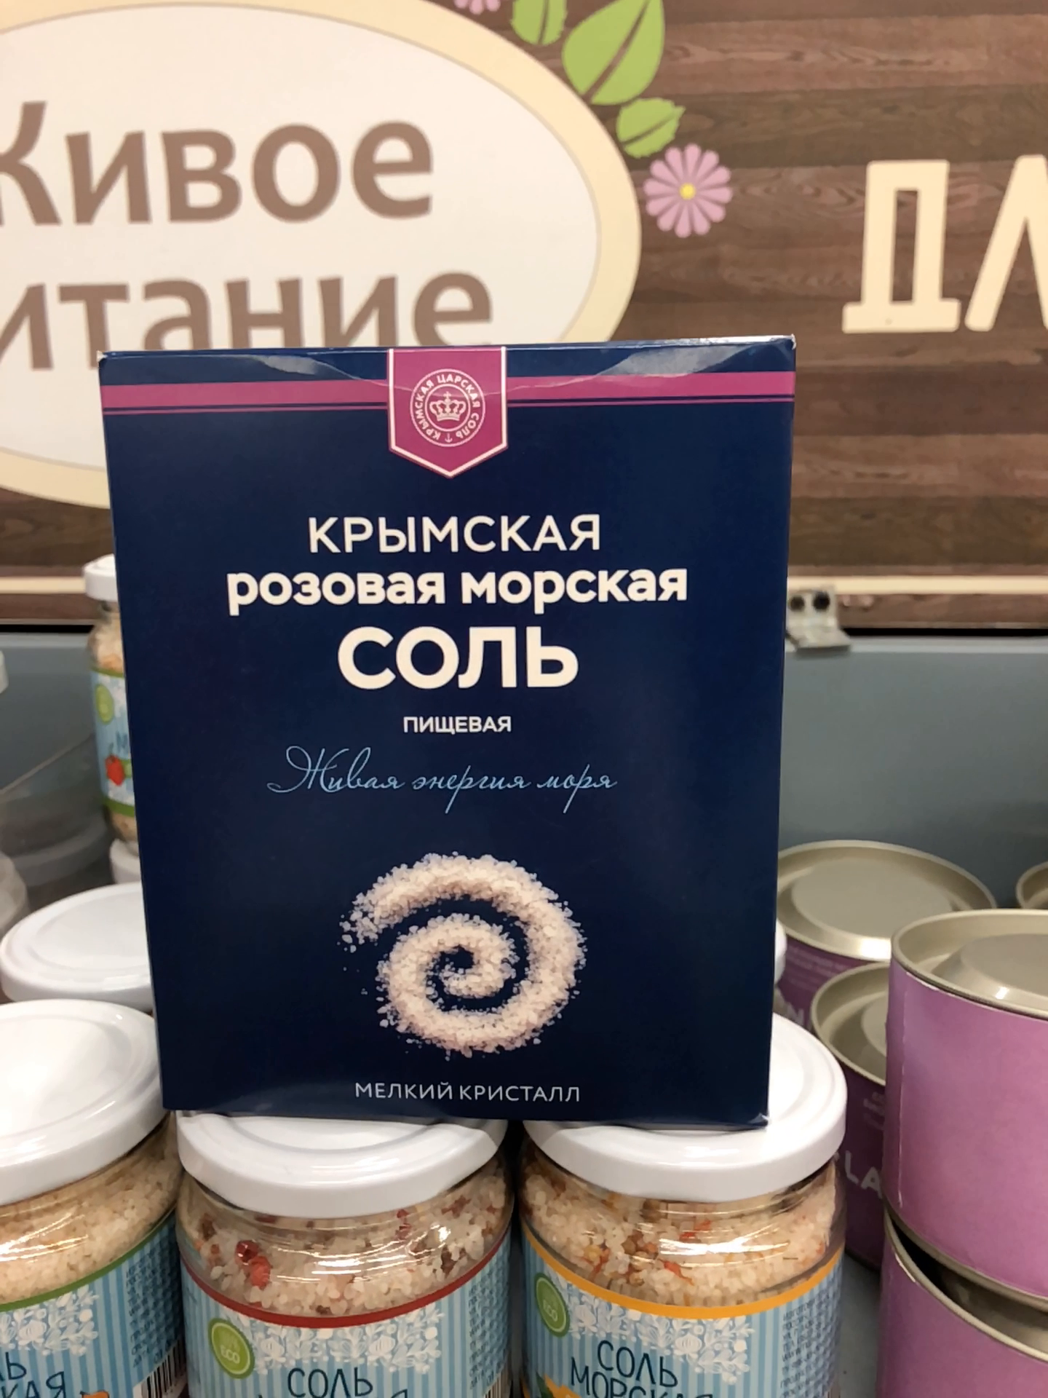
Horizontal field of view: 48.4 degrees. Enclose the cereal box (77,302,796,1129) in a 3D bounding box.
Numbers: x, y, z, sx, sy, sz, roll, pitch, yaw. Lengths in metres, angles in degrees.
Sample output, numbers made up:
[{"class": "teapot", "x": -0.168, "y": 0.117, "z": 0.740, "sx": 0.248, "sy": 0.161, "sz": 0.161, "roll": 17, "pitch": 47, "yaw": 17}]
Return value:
[{"class": "cereal box", "x": -0.014, "y": 0.004, "z": 0.229, "sx": 0.120, "sy": 0.149, "sz": 0.040, "roll": 0, "pitch": 12, "yaw": 4}]
